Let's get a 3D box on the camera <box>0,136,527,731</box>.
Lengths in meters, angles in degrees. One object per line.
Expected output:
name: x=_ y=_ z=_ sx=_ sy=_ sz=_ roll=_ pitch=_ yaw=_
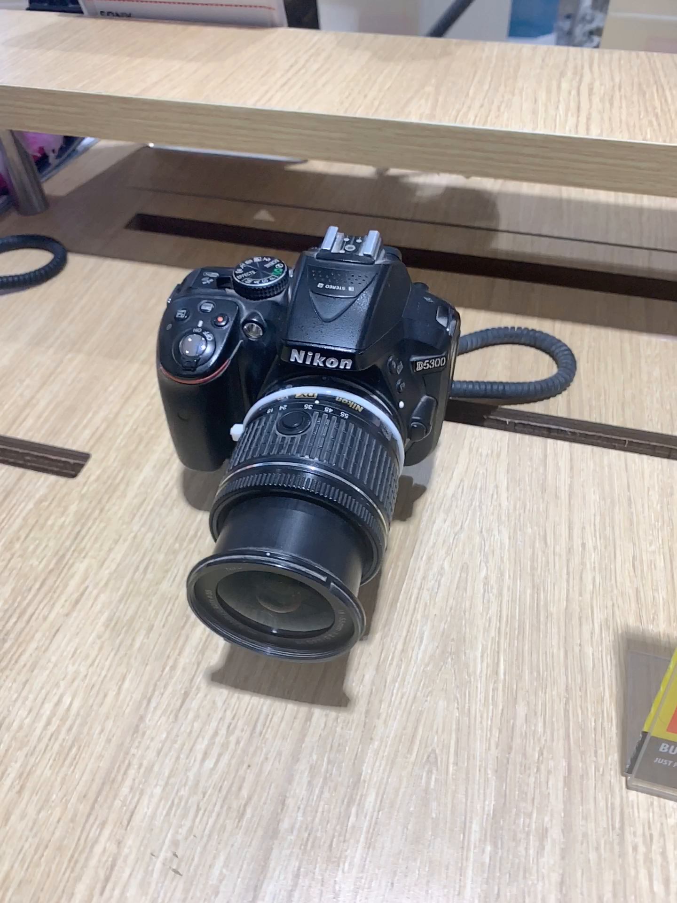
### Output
camera: x=-0.015 y=-0.025 z=0.297 sx=0.160 sy=0.120 sz=0.211 roll=8 pitch=47 yaw=9
